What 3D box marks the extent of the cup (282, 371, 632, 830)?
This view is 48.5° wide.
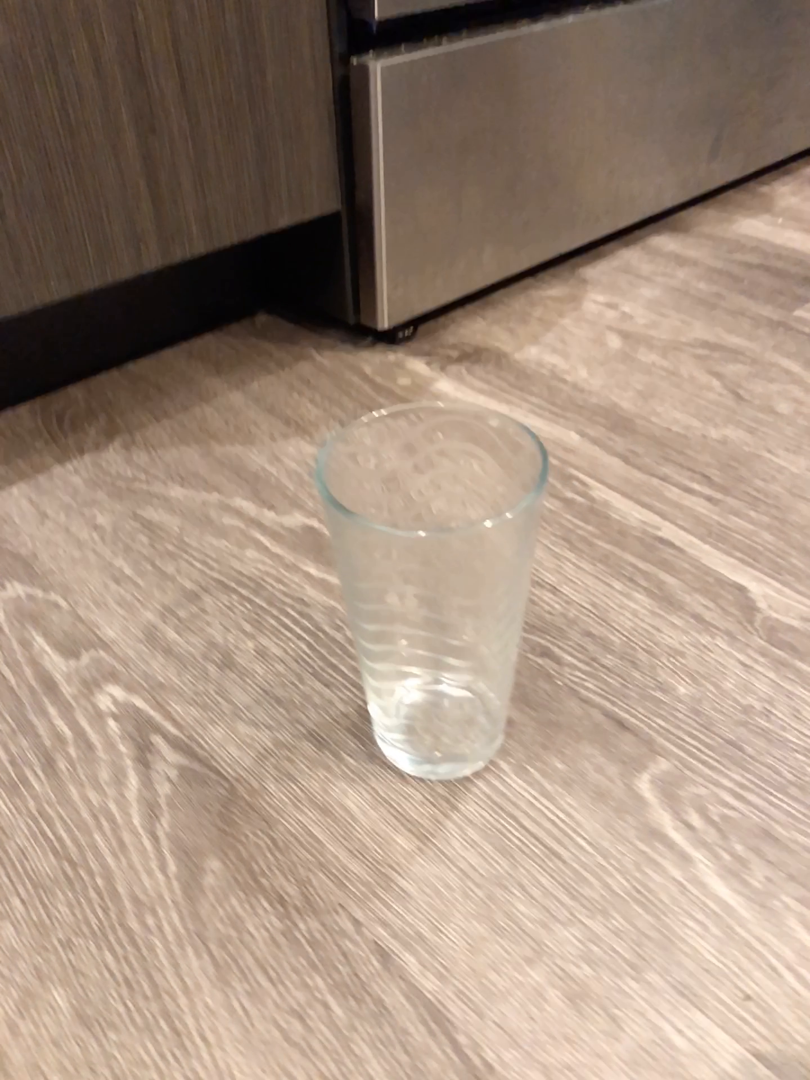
[{"bbox_3d":[0.020,0.024,0.372,0.090,0.139,0.090,-1,39,1],"label":"cup"}]
